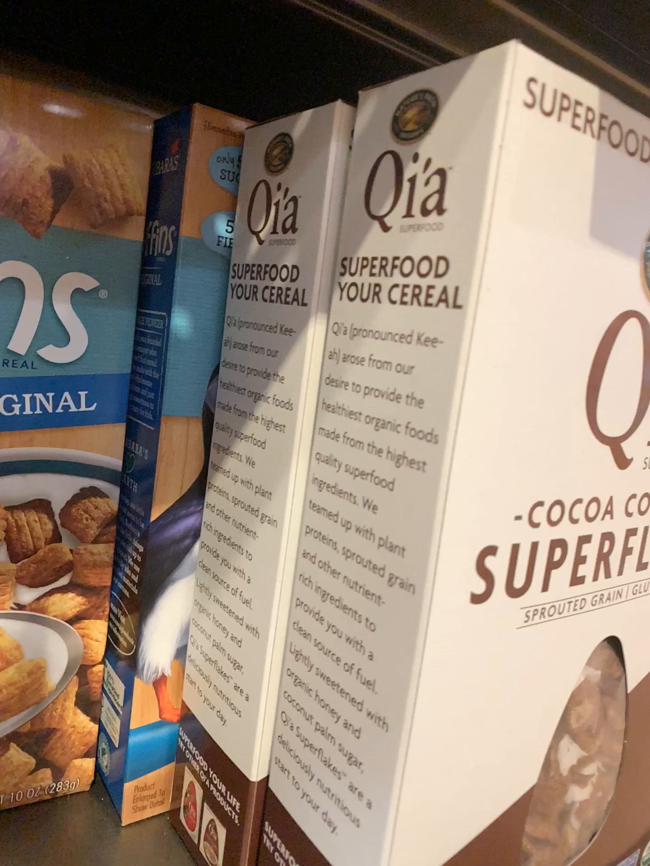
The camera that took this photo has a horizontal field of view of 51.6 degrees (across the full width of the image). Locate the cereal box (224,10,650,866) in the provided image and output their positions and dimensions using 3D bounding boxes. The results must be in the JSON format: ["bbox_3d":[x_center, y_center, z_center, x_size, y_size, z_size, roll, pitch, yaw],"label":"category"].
[{"bbox_3d":[0.066,0.037,0.226,0.160,0.259,0.060,2,10,-37],"label":"cereal box"}]
